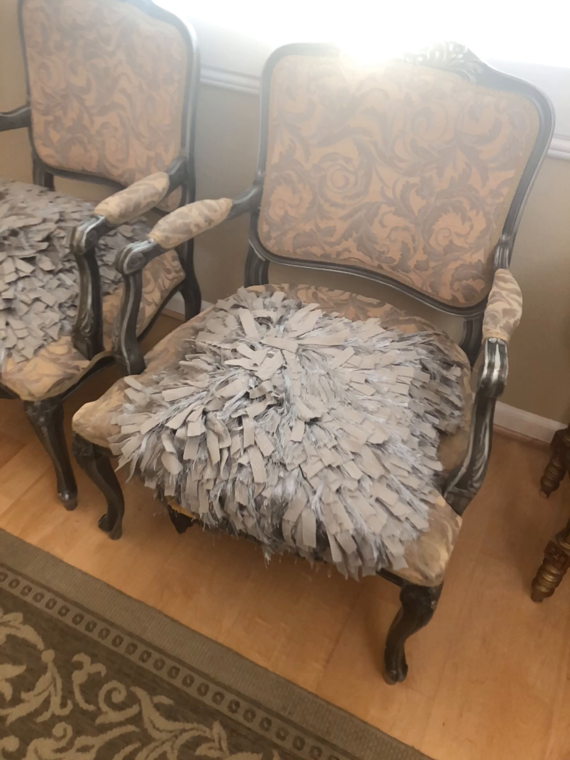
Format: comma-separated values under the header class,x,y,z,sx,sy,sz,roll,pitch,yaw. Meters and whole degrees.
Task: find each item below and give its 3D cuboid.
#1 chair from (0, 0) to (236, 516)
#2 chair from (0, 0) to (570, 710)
class,x,y,z,sx,sy,sz,roll,pitch,yaw
chair,-0.580,-0.353,1.405,0.691,0.951,0.605,25,47,23
chair,0.100,-0.100,1.171,0.740,0.852,0.787,20,45,18
